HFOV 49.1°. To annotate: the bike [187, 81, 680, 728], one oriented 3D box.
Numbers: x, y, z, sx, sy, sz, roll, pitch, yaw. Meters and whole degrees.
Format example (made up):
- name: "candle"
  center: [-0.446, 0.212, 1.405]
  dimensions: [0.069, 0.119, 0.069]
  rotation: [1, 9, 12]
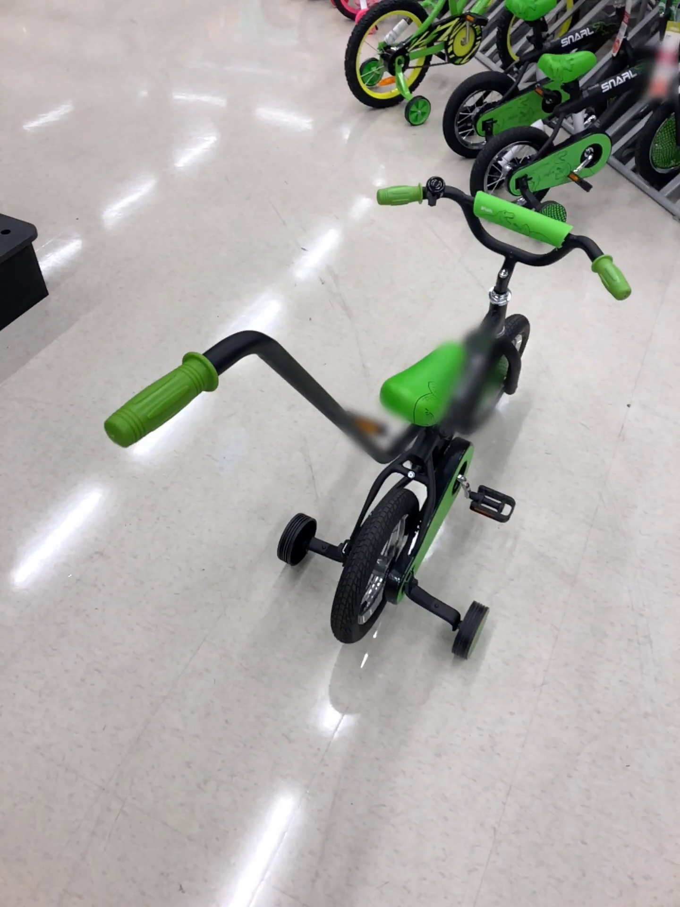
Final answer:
- name: "bike"
  center: [0.214, -0.128, 1.348]
  dimensions: [0.491, 0.600, 0.849]
  rotation: [22, 54, 20]
